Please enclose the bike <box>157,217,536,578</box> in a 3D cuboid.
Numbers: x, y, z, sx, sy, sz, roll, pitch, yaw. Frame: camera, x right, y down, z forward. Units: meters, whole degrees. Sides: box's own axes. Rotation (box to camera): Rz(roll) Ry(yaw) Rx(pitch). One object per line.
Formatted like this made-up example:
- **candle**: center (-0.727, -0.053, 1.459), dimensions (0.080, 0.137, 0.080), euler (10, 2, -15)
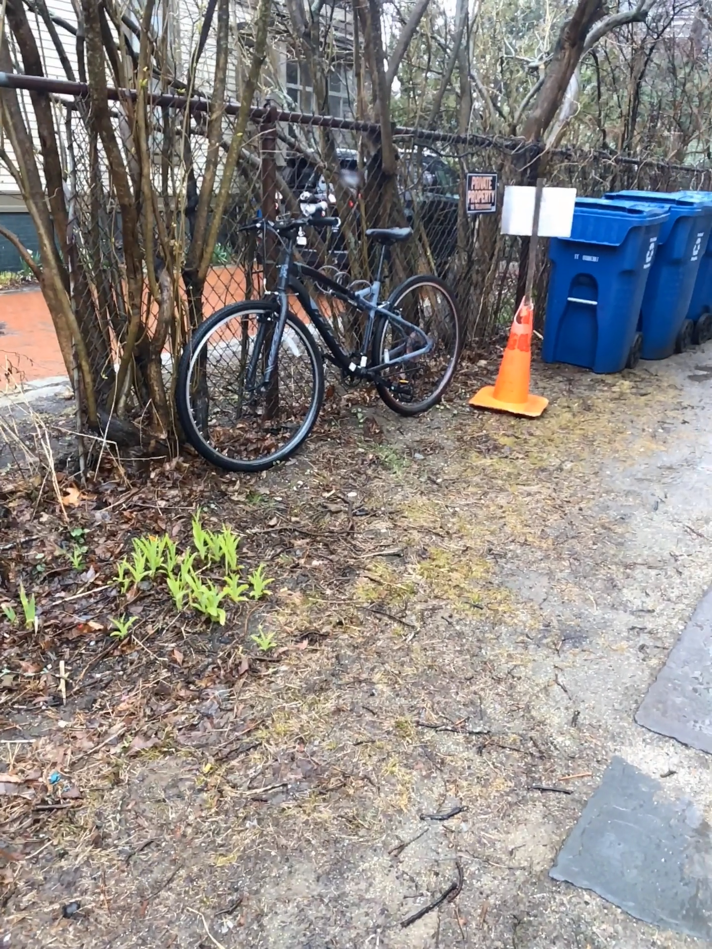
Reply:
- **bike**: center (0.056, -0.500, 3.560), dimensions (0.537, 1.067, 1.892), euler (18, 30, 38)
